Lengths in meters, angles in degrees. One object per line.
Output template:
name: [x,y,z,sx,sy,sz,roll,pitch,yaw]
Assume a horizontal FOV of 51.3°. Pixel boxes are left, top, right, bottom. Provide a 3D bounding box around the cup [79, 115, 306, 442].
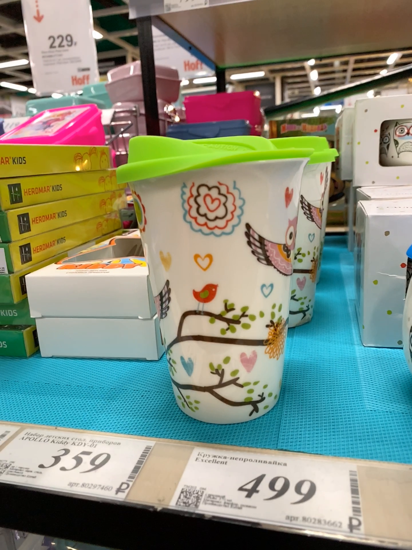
cup: [0.004,-0.003,0.222,0.090,0.136,0.084,-3,14,1]
